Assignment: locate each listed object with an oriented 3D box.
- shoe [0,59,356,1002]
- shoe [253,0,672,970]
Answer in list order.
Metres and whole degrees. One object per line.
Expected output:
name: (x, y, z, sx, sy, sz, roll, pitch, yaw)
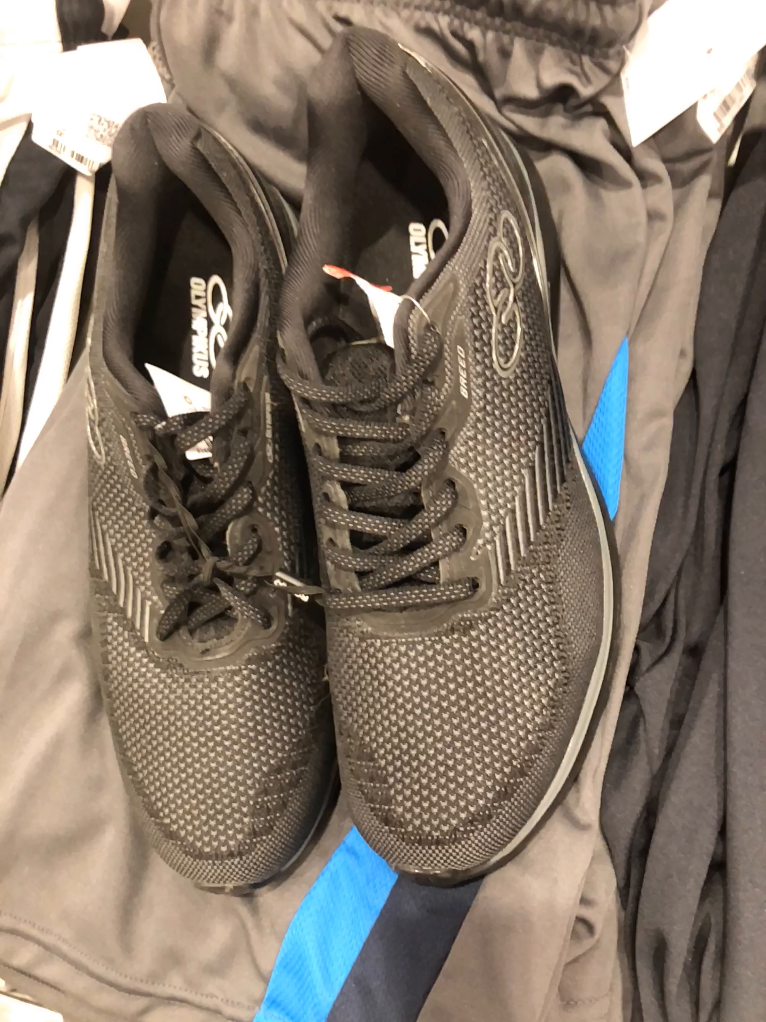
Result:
shoe: (-0.074, 0.004, 0.302, 0.100, 0.100, 0.270, -4, 79, 15)
shoe: (0.027, -0.025, 0.275, 0.100, 0.100, 0.280, -4, 79, 15)
